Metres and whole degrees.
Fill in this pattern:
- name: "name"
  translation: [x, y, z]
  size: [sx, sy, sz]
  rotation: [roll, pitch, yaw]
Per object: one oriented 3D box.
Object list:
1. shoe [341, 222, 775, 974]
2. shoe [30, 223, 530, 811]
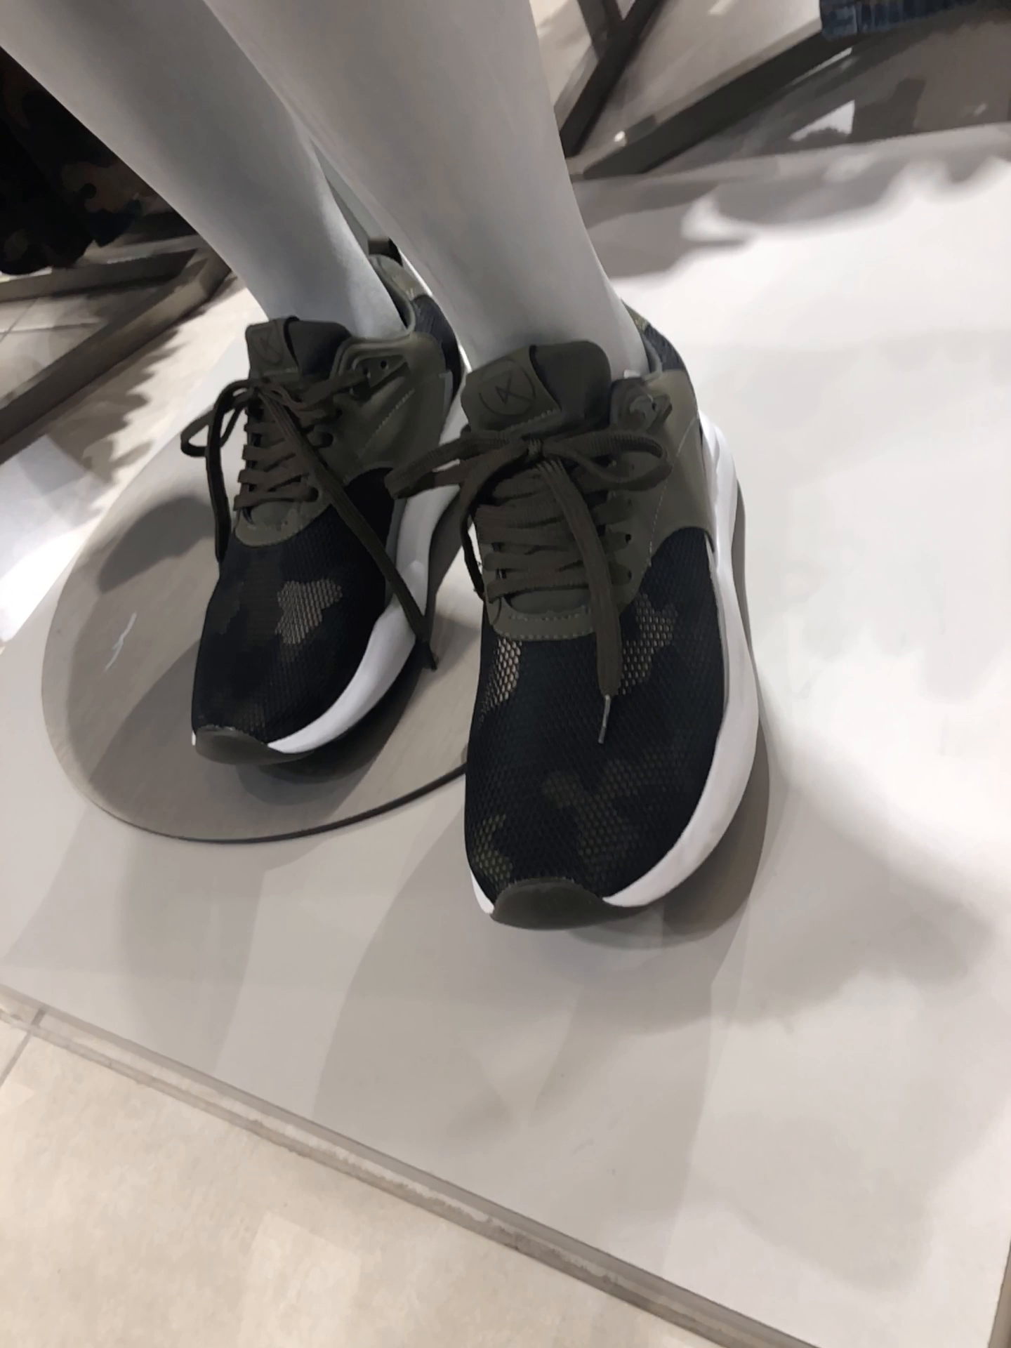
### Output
- name: "shoe"
  translation: [0.039, -0.038, 0.443]
  size: [0.110, 0.109, 0.281]
  rotation: [-8, 50, 22]
- name: "shoe"
  translation: [-0.091, -0.081, 0.543]
  size: [0.100, 0.119, 0.261]
  rotation: [1, 54, 28]
